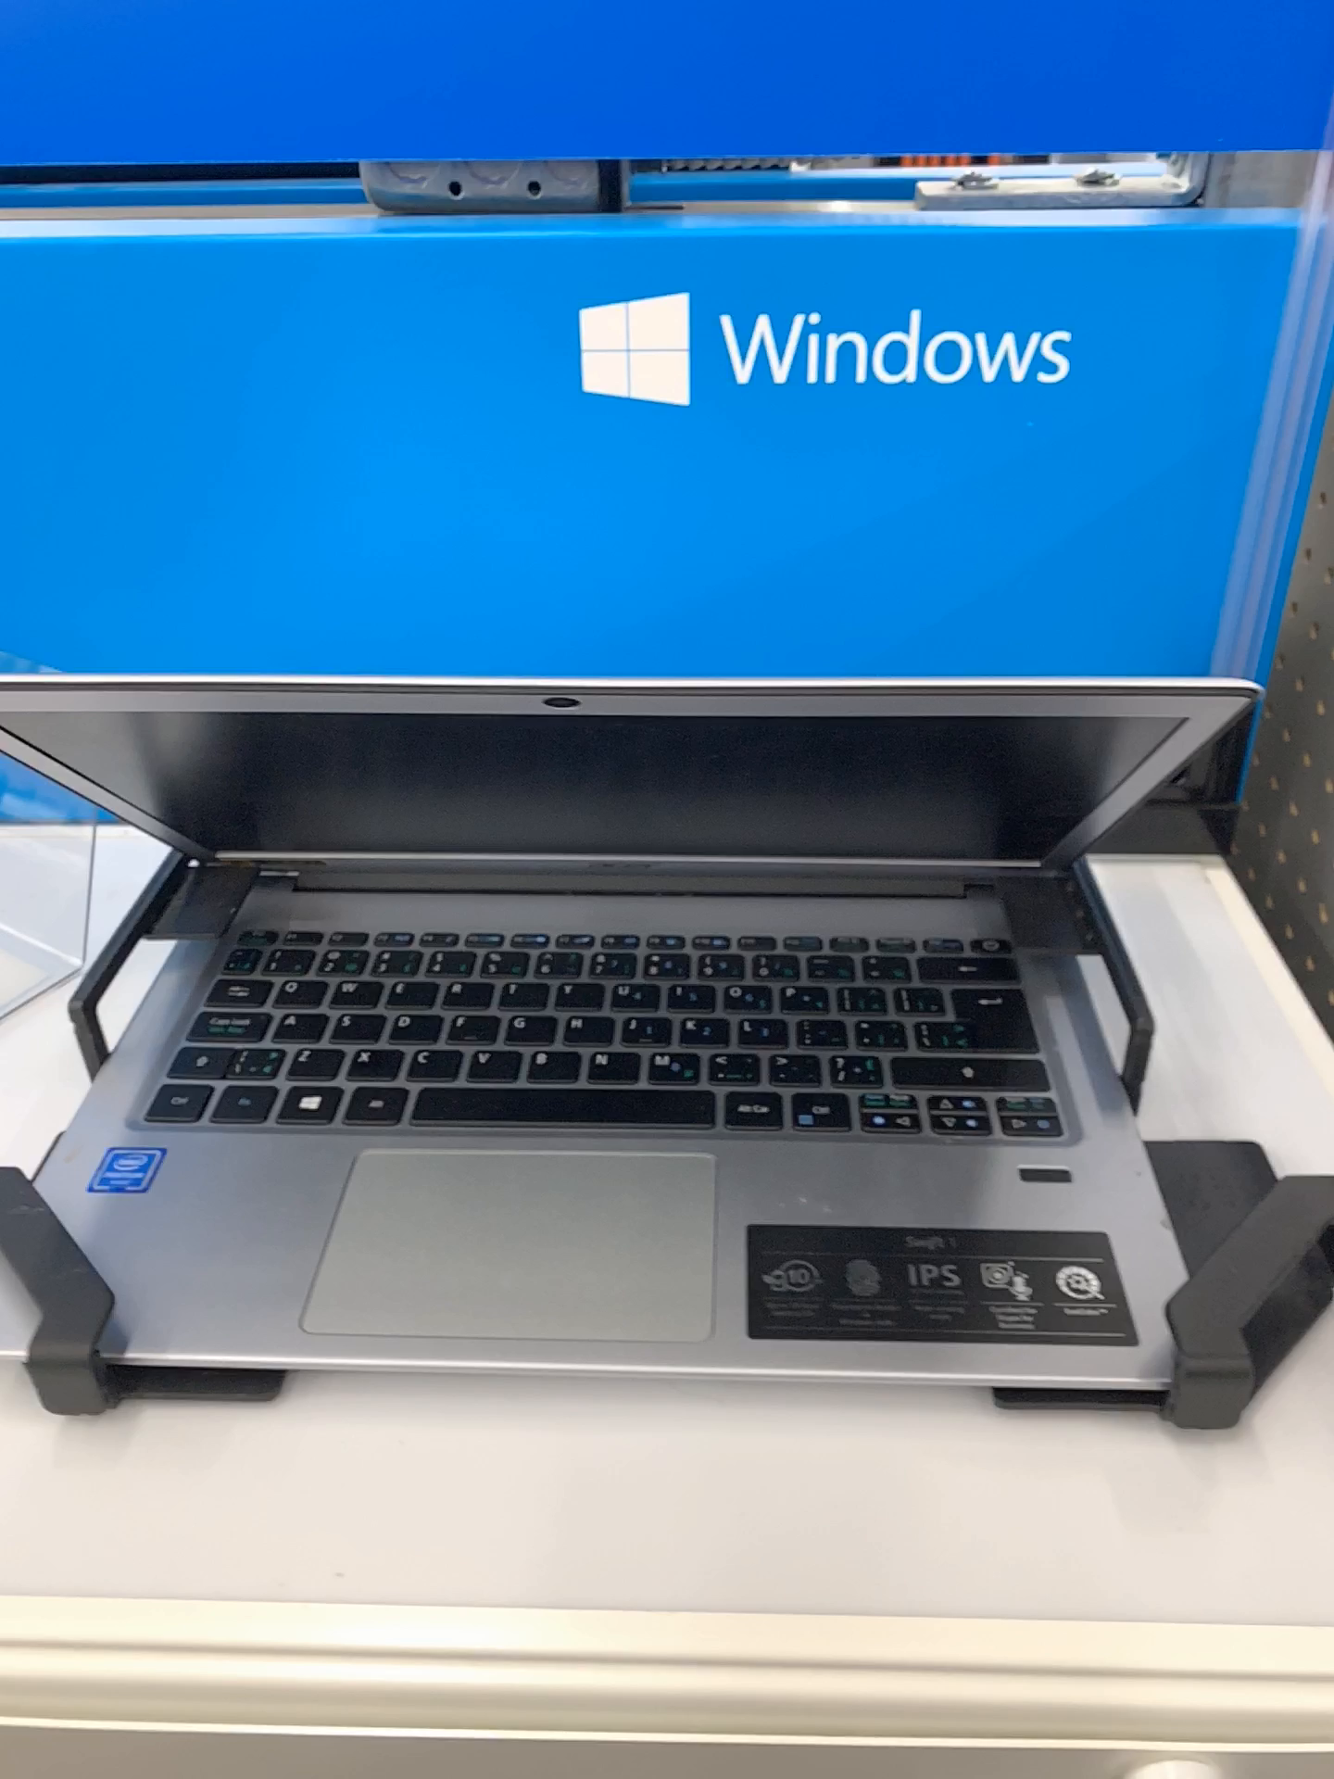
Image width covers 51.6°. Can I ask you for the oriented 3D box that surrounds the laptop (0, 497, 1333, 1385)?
[{"bbox_3d":[-0.022,-0.002,0.378,0.307,0.140,0.198,1,34,3],"label":"laptop"}]
